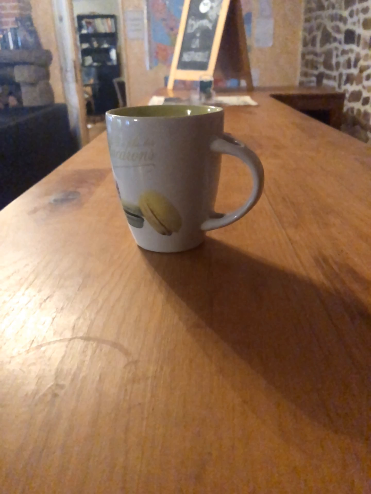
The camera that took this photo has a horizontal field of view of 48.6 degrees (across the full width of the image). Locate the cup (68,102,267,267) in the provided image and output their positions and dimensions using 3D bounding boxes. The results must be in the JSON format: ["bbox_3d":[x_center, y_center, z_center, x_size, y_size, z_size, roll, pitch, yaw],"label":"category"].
[{"bbox_3d":[-0.007,-0.058,0.328,0.120,0.099,0.098,7,25,20],"label":"cup"}]
